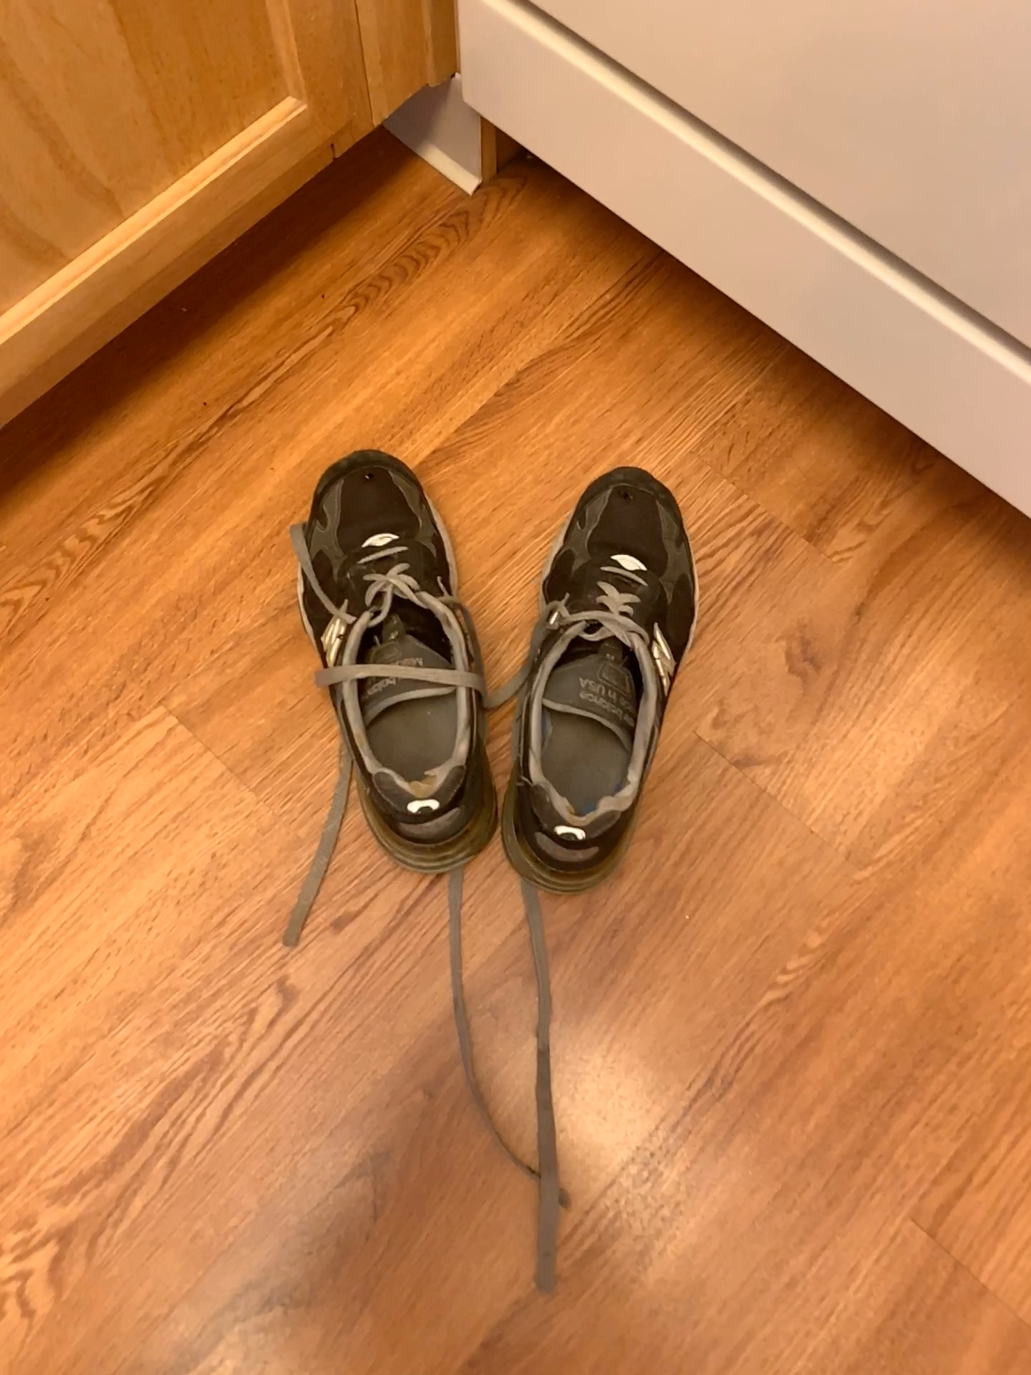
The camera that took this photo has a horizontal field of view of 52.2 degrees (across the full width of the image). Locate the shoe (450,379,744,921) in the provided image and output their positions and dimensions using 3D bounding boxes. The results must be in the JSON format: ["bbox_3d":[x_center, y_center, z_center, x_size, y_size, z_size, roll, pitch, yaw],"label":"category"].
[{"bbox_3d":[0.052,-0.025,0.646,0.120,0.100,0.300,10,71,3],"label":"shoe"}]

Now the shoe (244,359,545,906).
[{"bbox_3d":[-0.075,-0.035,0.640,0.120,0.100,0.300,-11,71,-4],"label":"shoe"}]
